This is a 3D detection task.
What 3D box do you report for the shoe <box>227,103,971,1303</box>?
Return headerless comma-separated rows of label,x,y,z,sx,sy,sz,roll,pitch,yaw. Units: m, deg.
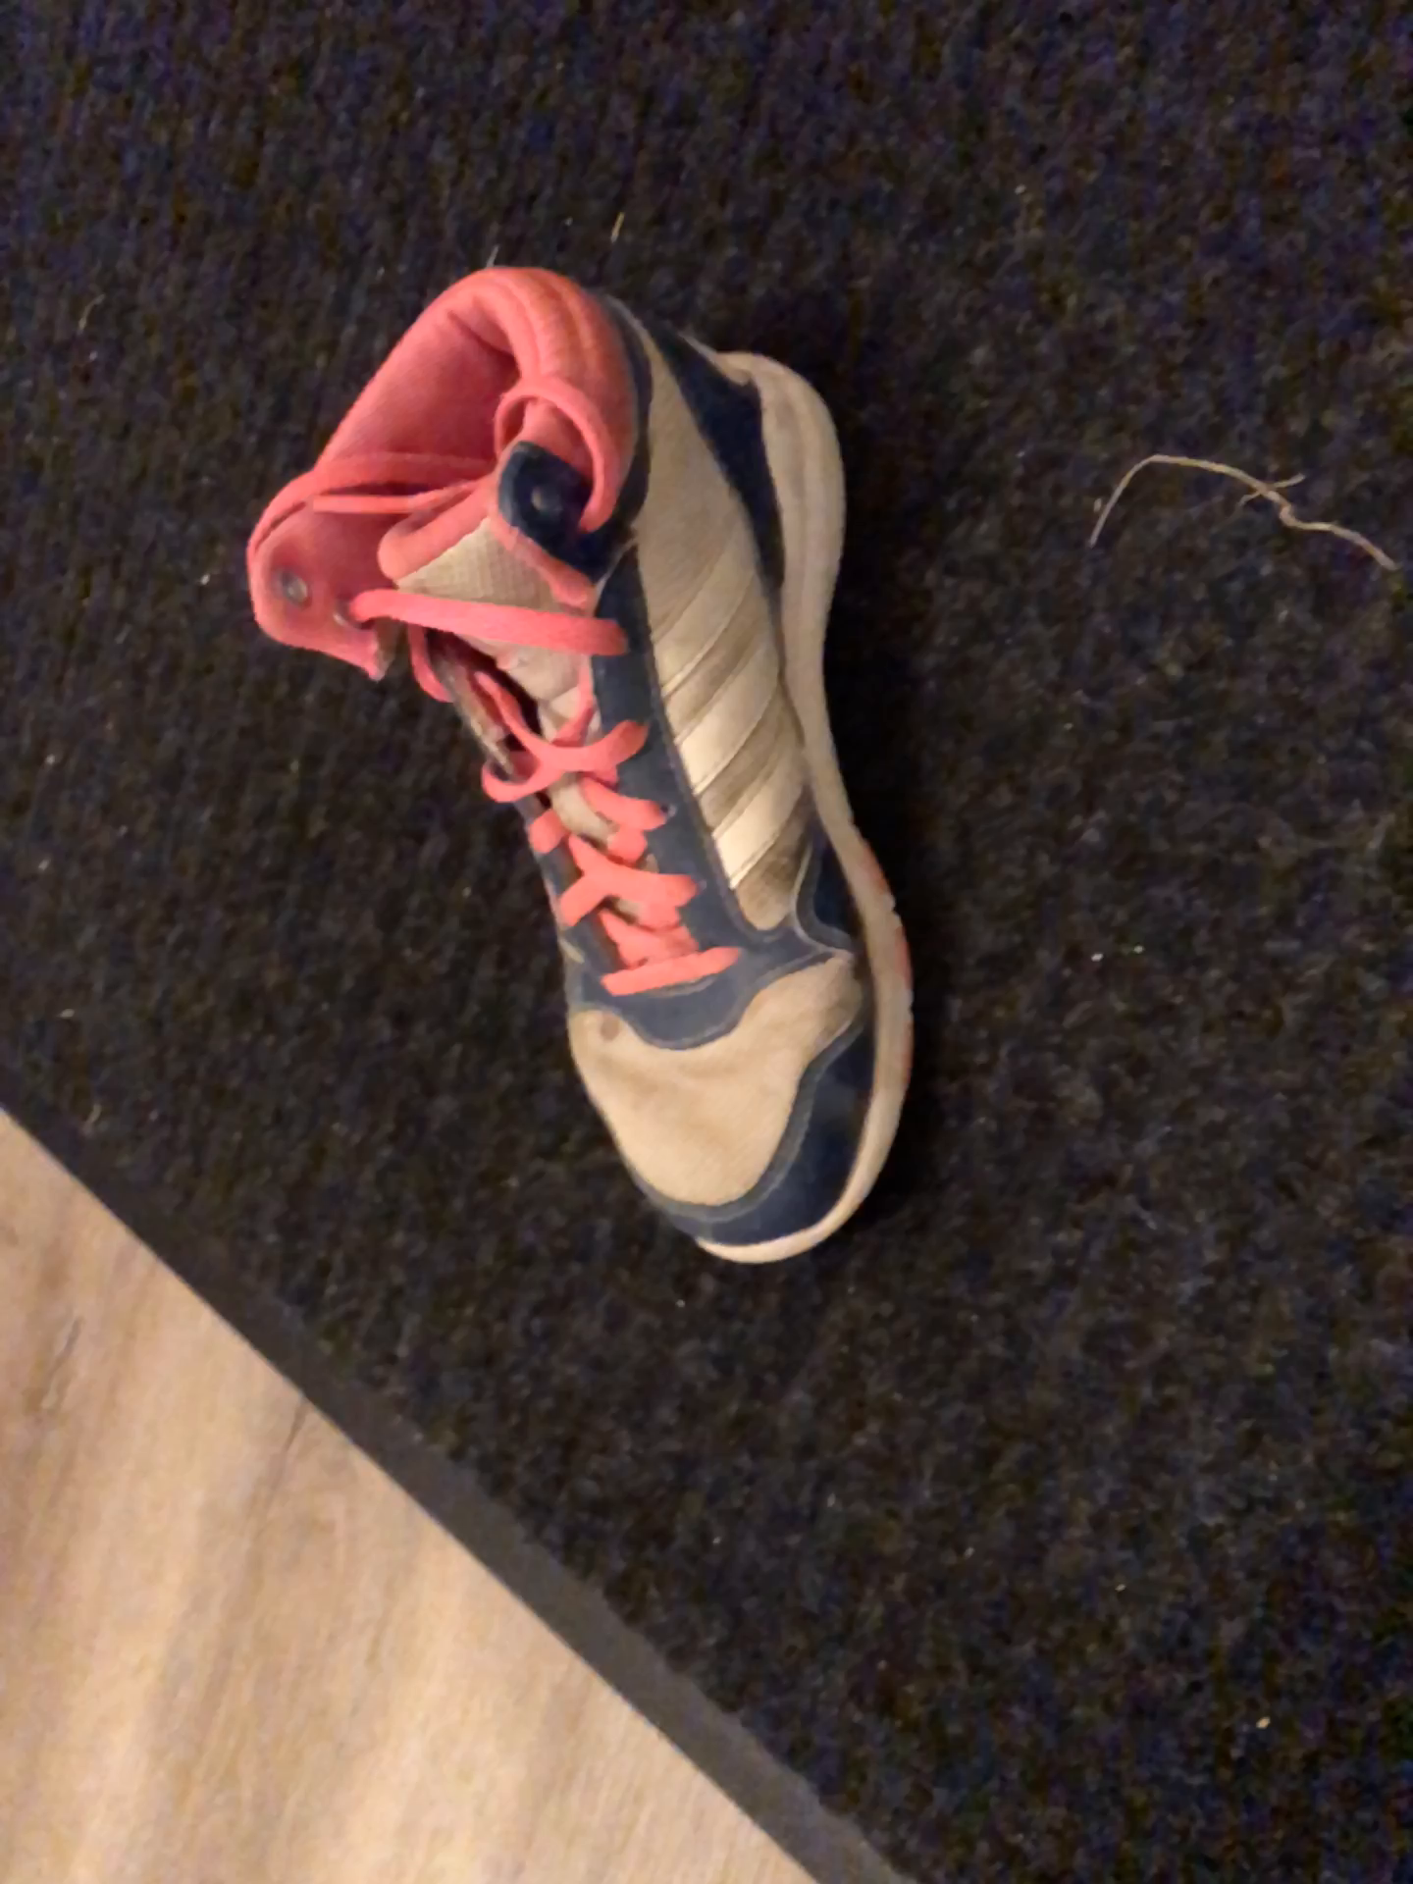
shoe,-0.023,-0.036,0.324,0.090,0.100,0.200,-13,79,37
